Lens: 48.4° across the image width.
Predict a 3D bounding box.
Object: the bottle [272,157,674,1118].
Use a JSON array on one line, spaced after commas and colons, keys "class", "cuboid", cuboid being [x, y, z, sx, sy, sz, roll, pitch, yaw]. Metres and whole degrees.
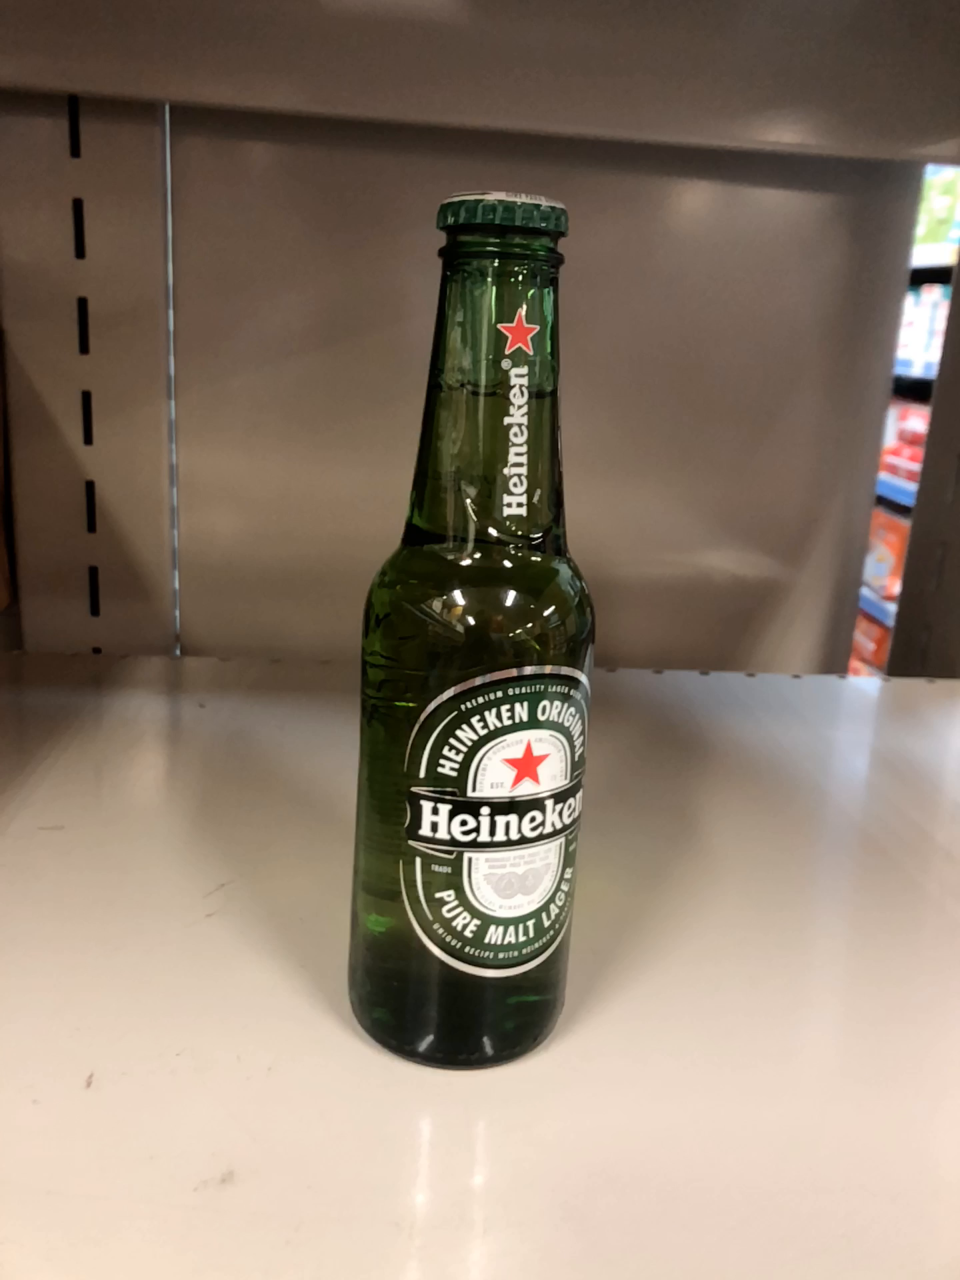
[{"class": "bottle", "cuboid": [-0.009, 0.000, 0.251, 0.060, 0.199, 0.060, 3, 17, -1]}]
